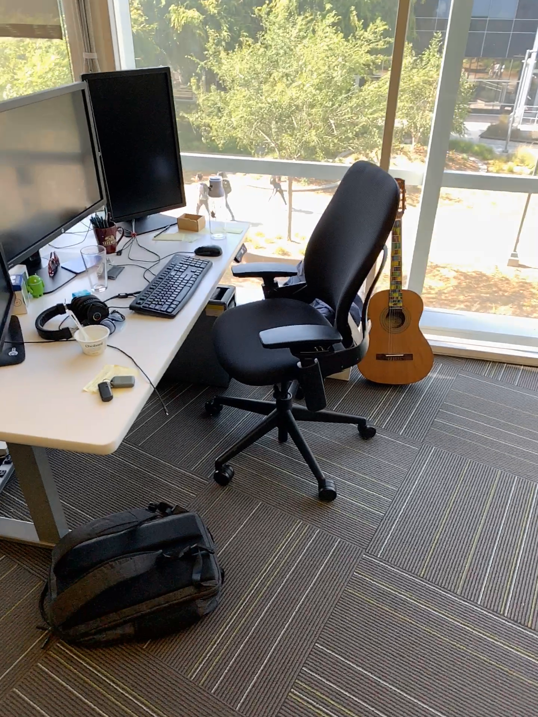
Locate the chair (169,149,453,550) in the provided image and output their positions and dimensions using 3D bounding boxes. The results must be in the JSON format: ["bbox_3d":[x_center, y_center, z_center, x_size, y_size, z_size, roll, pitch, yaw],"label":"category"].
[{"bbox_3d":[0.073,-0.052,2.056,0.690,1.222,0.714,-9,33,-14],"label":"chair"}]
